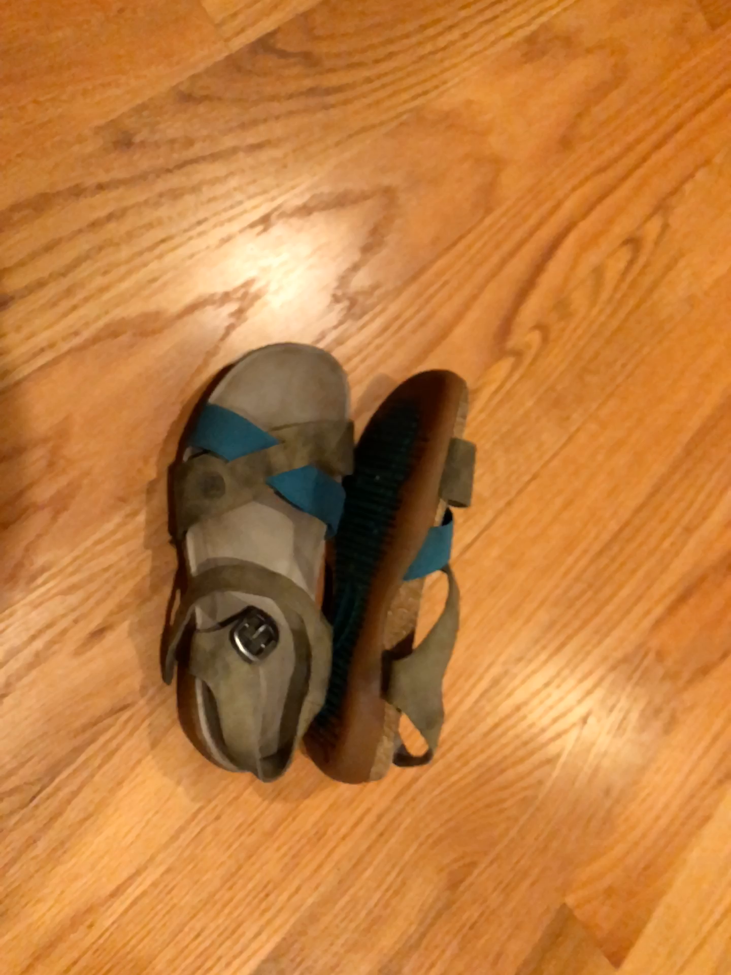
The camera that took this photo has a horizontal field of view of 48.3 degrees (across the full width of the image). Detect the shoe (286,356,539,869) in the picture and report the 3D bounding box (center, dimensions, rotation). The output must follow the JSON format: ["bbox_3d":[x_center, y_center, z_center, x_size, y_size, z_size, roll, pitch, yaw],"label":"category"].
[{"bbox_3d":[0.023,0.061,0.440,0.065,0.104,0.238,10,83,-30],"label":"shoe"}]

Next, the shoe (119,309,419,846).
[{"bbox_3d":[-0.049,0.045,0.422,0.104,0.075,0.240,10,83,-30],"label":"shoe"}]
